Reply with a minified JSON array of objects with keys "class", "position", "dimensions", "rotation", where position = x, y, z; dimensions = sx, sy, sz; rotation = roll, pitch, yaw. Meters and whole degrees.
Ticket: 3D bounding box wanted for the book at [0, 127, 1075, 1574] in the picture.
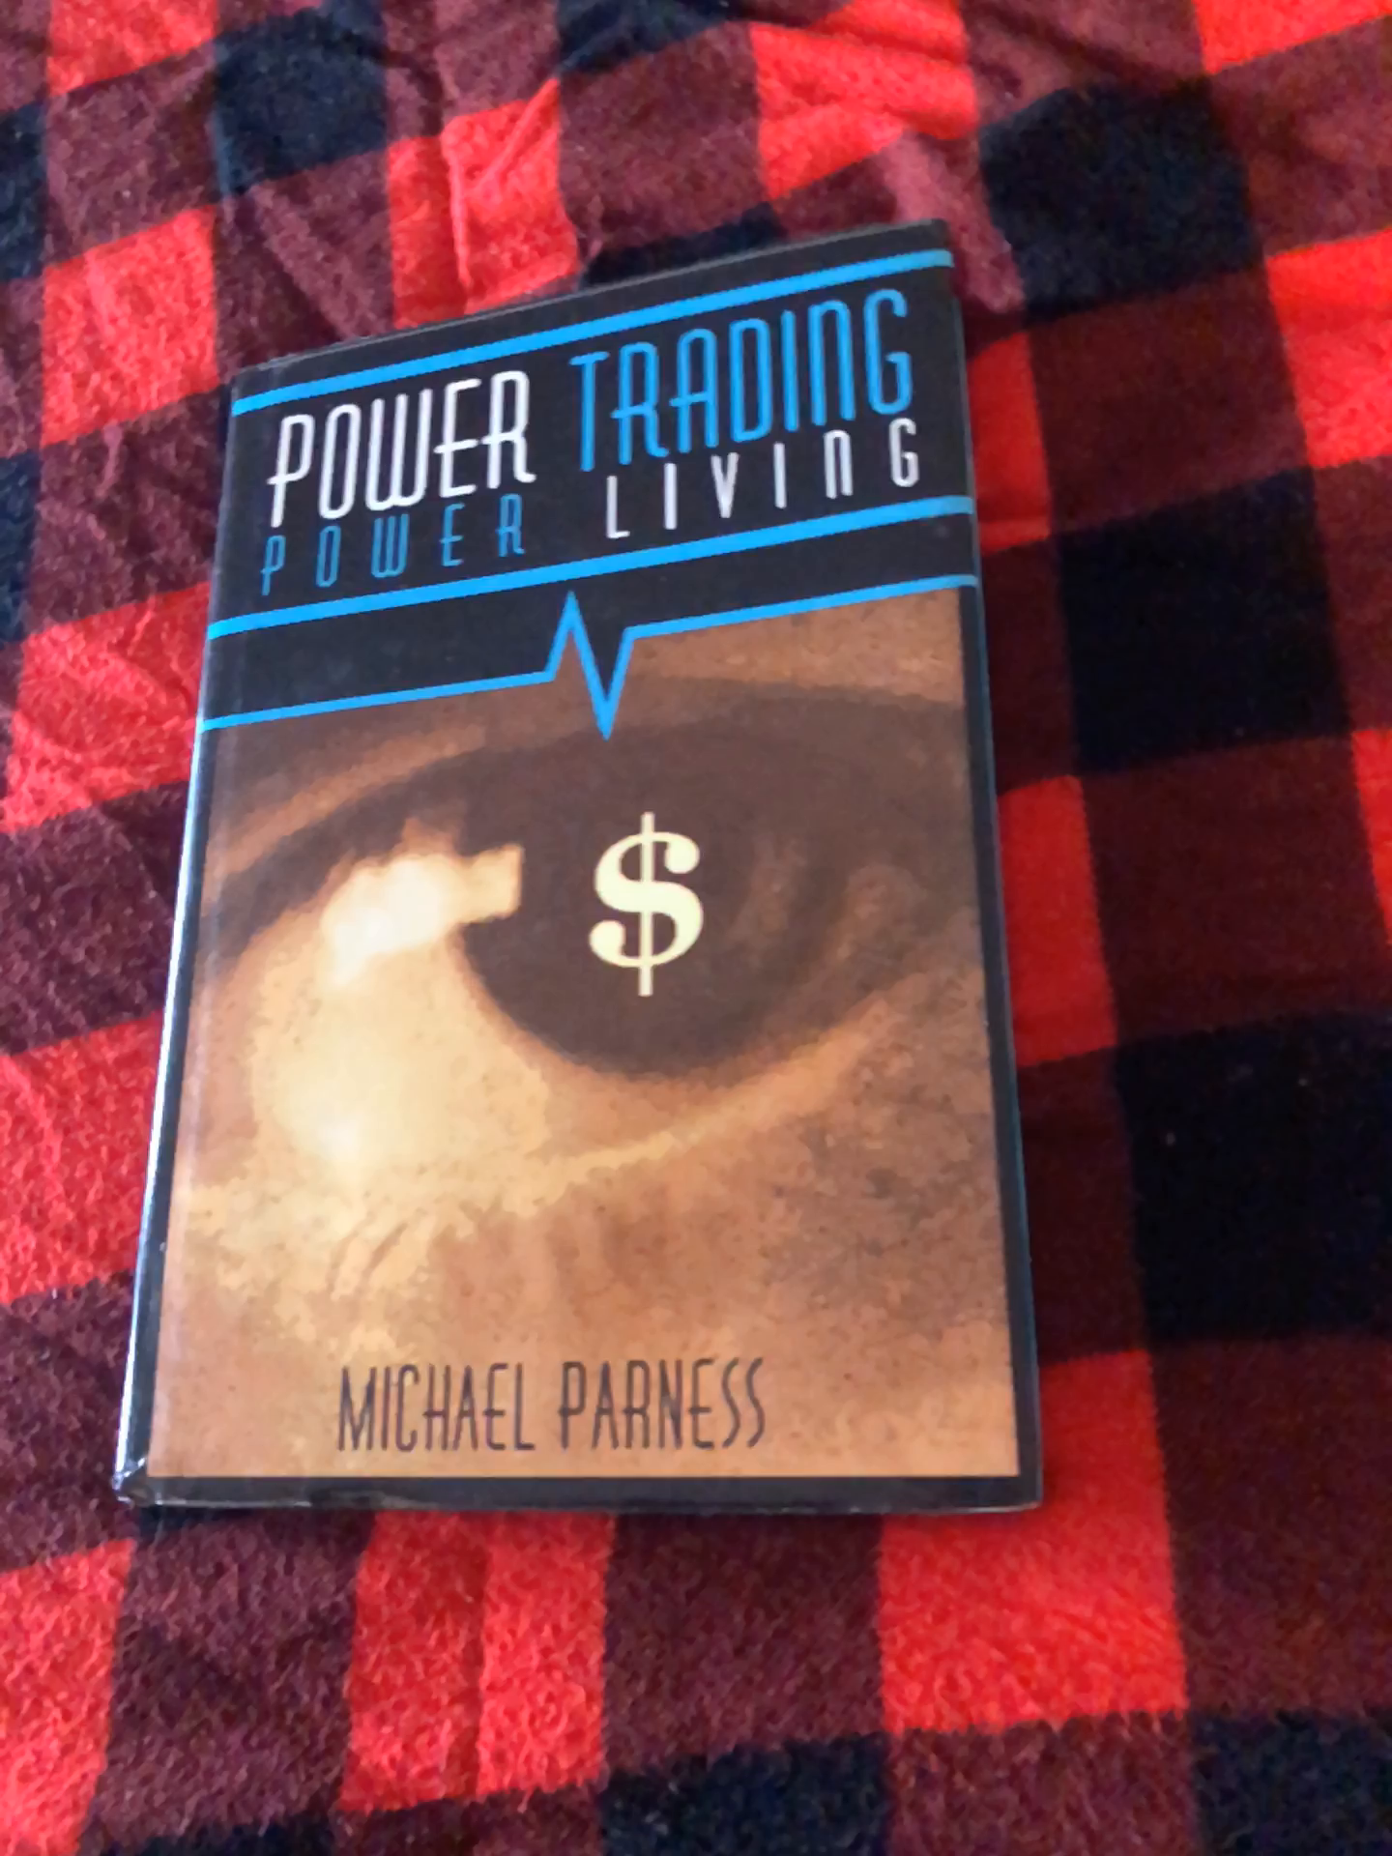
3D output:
[{"class":"book","position":[-0.029,-0.016,0.280],"dimensions":[0.170,0.040,0.240],"rotation":[-5,72,15]}]
